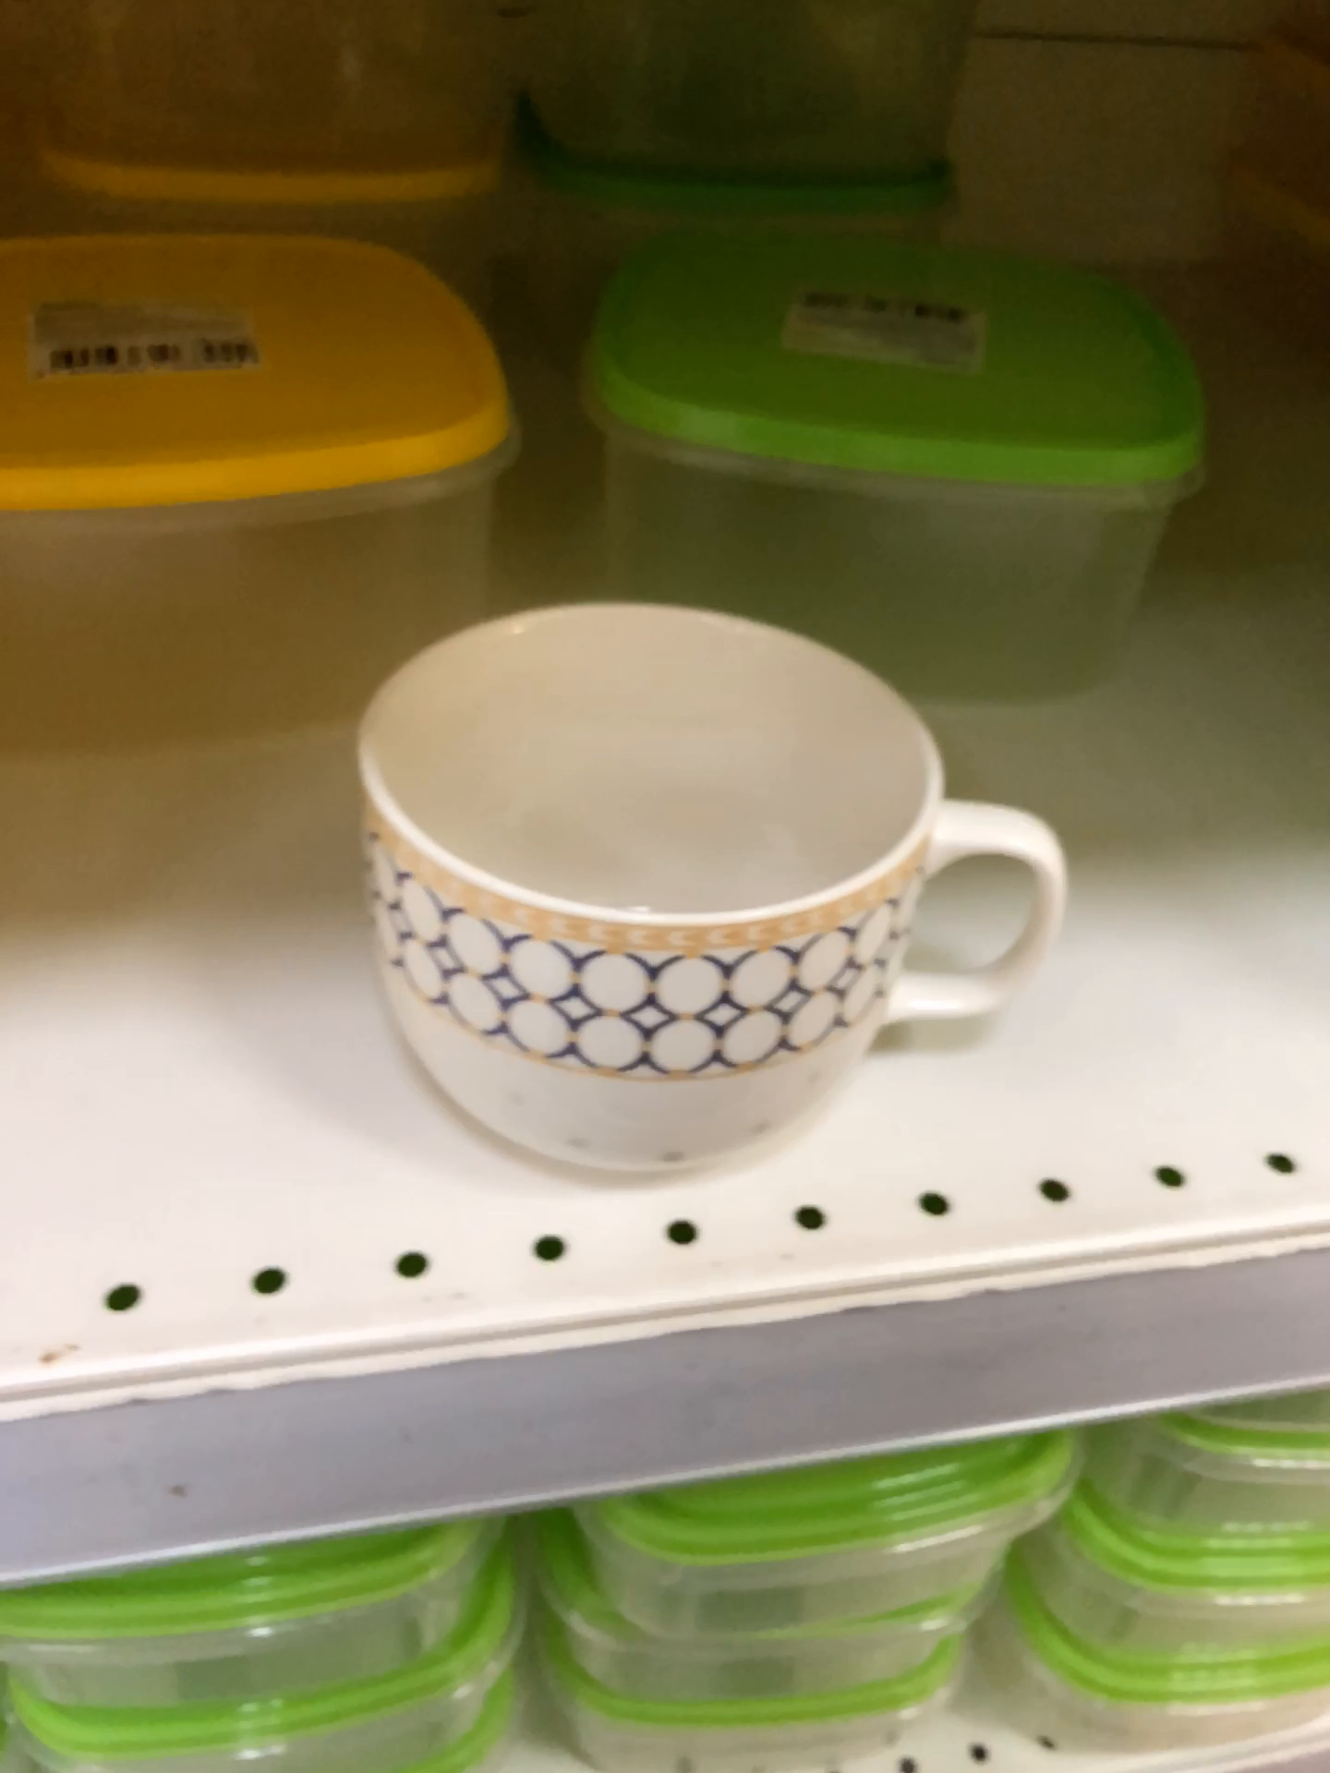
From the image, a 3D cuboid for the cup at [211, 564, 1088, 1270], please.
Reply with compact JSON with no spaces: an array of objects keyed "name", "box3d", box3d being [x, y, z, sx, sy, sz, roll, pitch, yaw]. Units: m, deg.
[{"name":"cup","box3d":[0.002,0.000,0.286,0.134,0.062,0.105,9,40,4]}]
